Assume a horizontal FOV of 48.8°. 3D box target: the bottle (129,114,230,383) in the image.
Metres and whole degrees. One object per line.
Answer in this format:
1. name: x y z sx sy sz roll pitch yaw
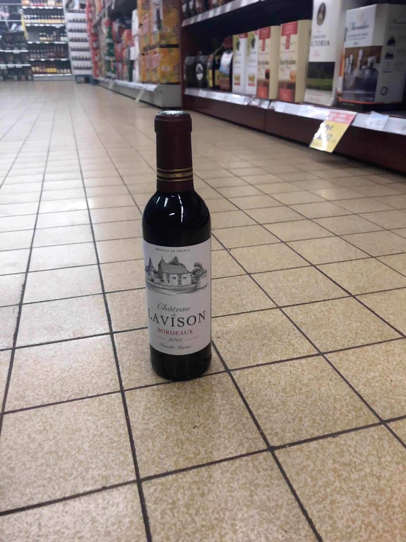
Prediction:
1. bottle: -0.015 -0.014 0.378 0.070 0.219 0.060 0 23 1
